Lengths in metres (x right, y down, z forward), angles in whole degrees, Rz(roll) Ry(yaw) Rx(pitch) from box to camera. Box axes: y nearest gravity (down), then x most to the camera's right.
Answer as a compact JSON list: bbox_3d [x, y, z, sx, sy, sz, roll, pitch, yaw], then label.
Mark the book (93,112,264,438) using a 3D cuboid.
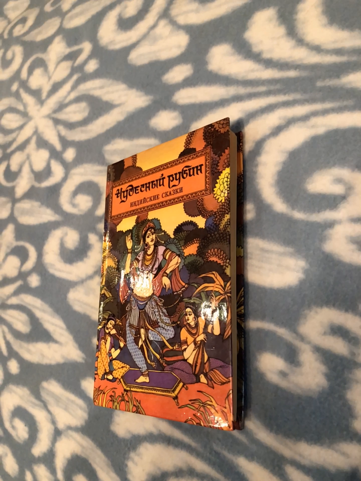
[{"bbox_3d":[-0.008,0.025,0.312,0.140,0.027,0.210,-11,73,40],"label":"book"}]
